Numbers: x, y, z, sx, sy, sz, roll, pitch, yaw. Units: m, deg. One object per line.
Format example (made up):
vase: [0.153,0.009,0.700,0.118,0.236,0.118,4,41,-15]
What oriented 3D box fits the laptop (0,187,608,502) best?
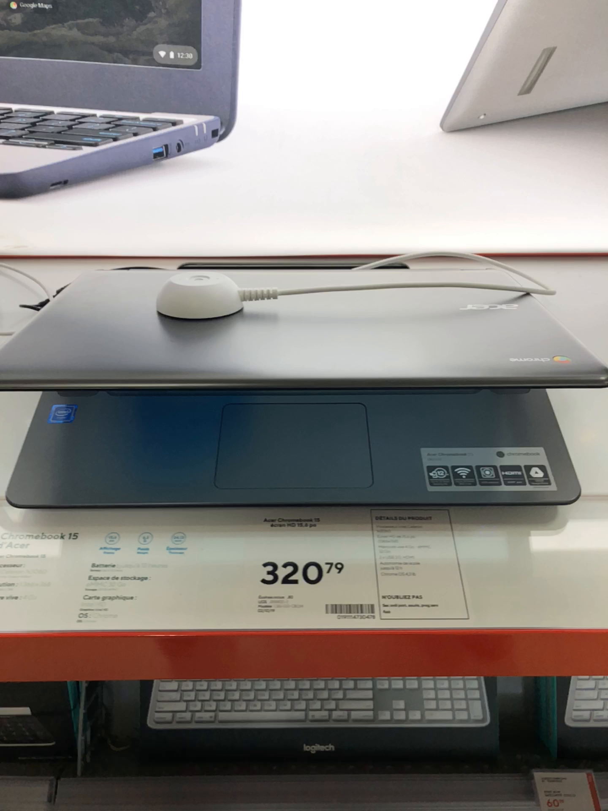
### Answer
laptop: [-0.006,-0.058,0.485,0.369,0.088,0.249,0,44,1]
